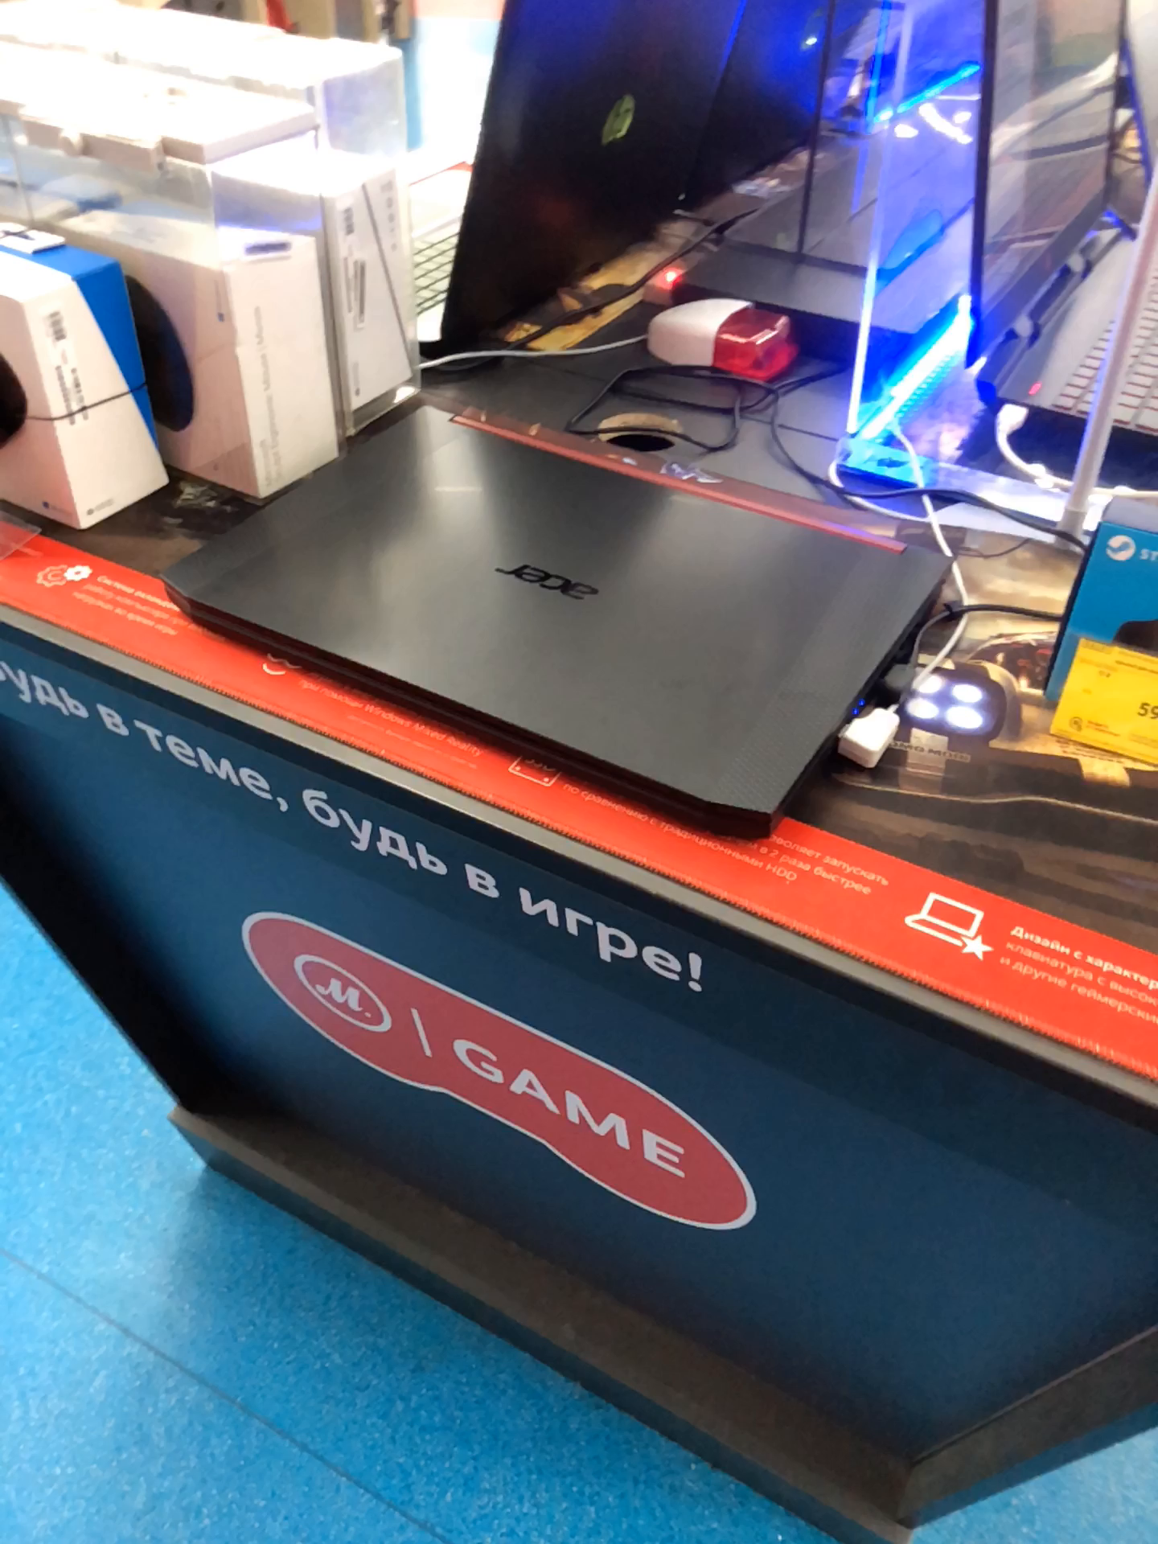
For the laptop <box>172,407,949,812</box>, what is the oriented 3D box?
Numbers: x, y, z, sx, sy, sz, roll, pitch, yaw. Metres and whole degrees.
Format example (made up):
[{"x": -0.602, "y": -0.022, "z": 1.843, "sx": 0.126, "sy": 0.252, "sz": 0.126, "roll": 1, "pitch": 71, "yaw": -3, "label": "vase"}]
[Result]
[{"x": -0.006, "y": -0.113, "z": 0.700, "sx": 0.351, "sy": 0.005, "sz": 0.243, "roll": 22, "pitch": 45, "yaw": 22, "label": "laptop"}]
